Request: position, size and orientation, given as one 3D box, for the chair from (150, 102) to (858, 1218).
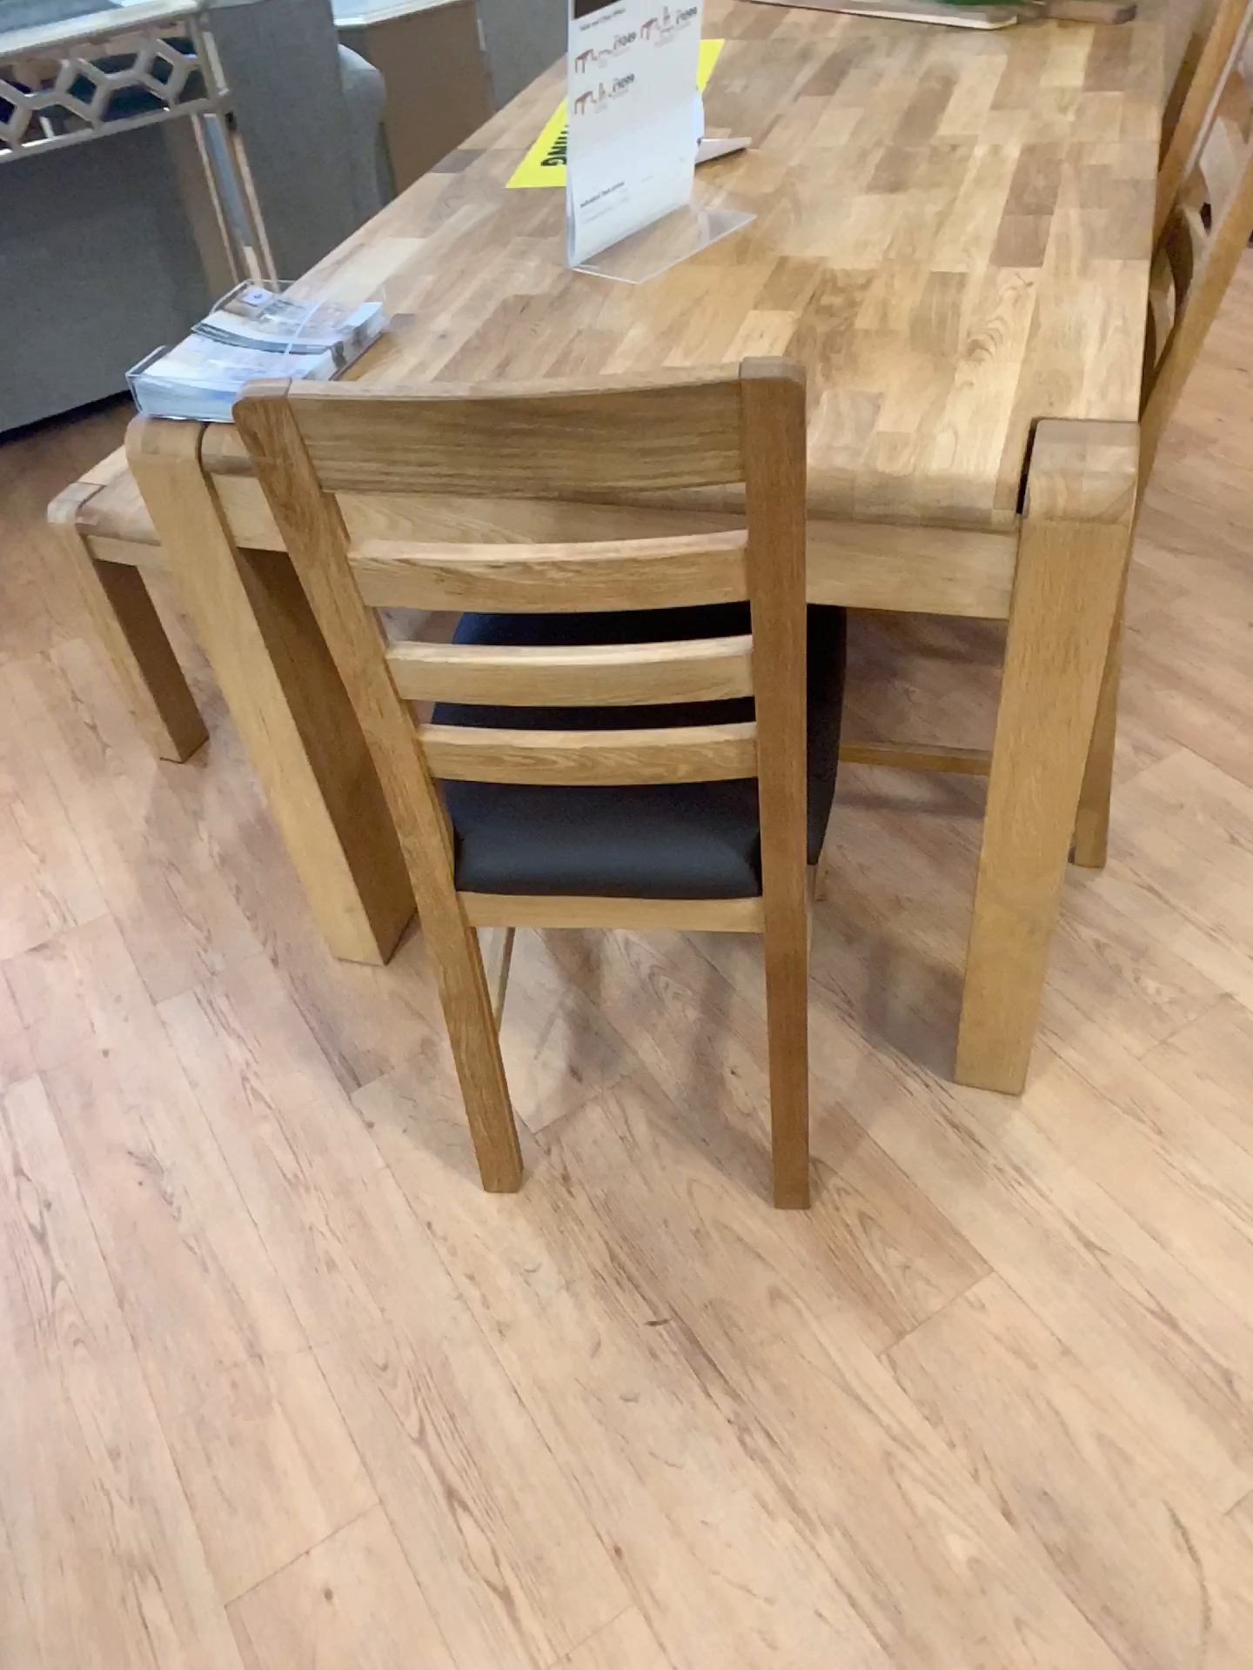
[{"bbox_3d":[-0.004,-0.113,1.237,0.421,0.917,0.522,2,44,9],"label":"chair"}]
